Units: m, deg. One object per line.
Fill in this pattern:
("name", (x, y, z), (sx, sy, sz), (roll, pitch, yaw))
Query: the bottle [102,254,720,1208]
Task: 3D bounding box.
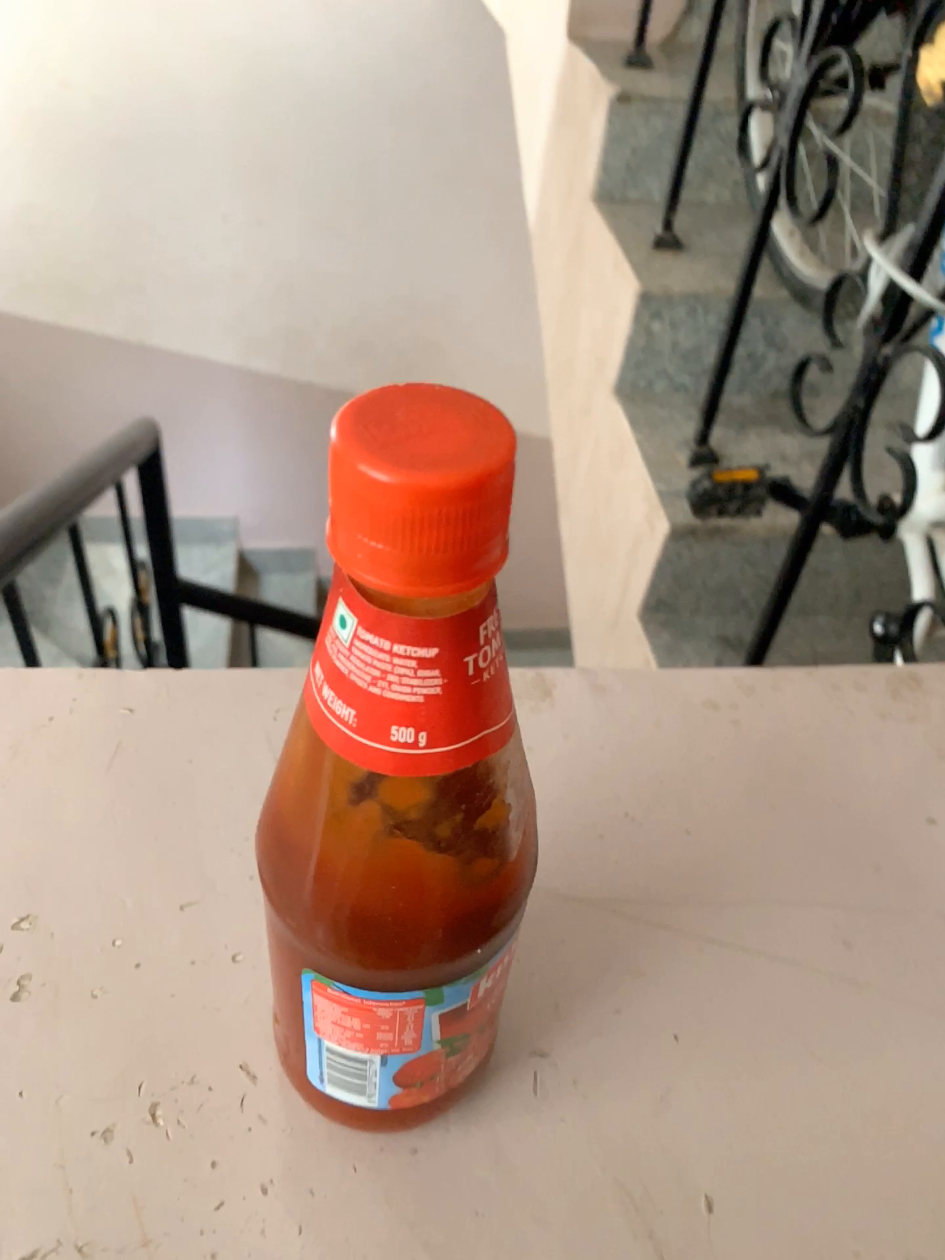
("bottle", (-0.015, 0.042, 0.224), (0.070, 0.218, 0.070), (4, 42, -4))
